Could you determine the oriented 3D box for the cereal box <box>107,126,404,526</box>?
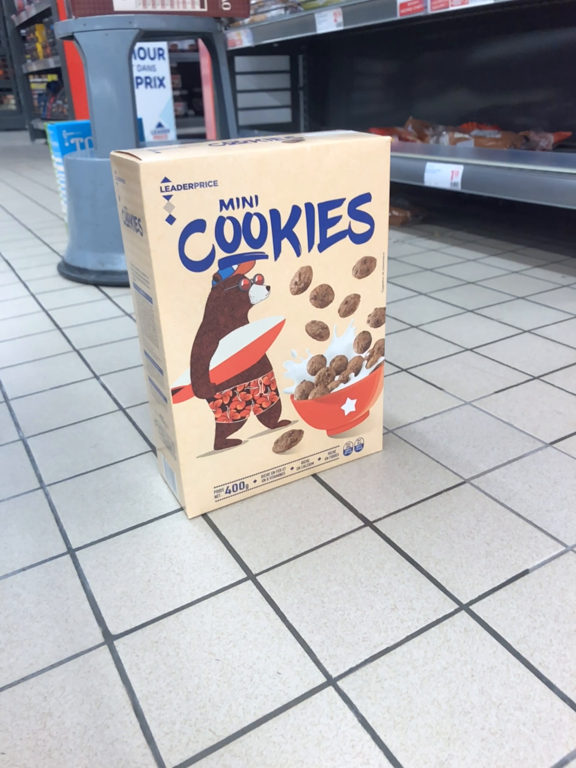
[{"bbox_3d":[-0.016,-0.053,0.516,0.201,0.279,0.080,-15,27,-25],"label":"cereal box"}]
